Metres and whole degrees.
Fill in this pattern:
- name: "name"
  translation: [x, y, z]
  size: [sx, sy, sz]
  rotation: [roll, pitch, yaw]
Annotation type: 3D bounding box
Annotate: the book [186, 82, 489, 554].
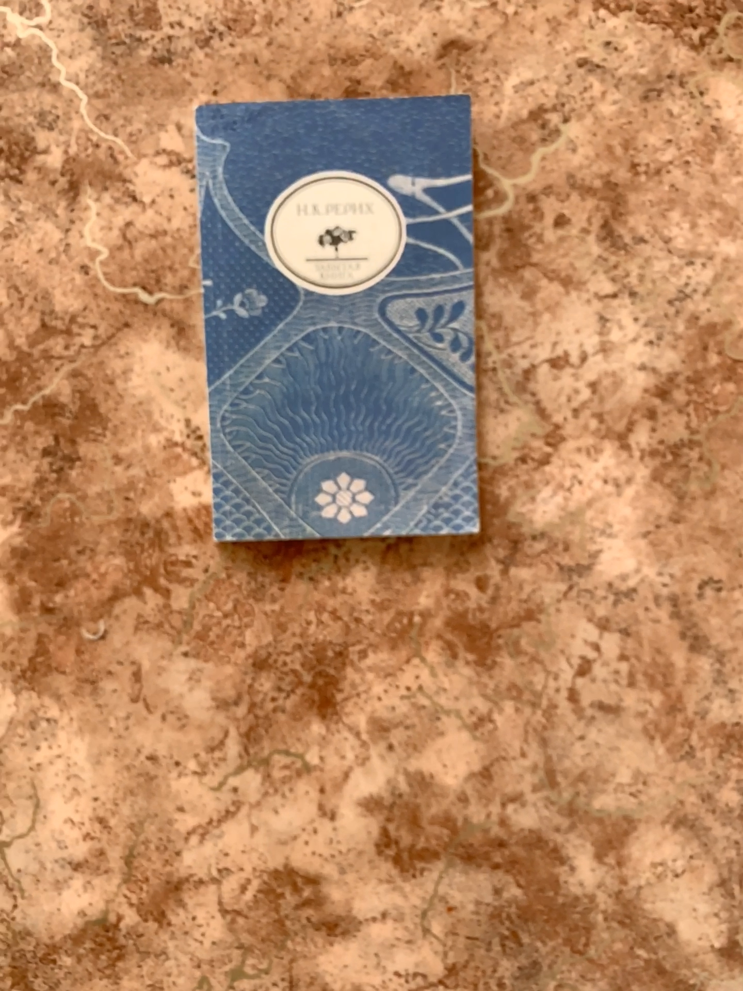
- name: "book"
  translation: [-0.014, -0.078, 0.352]
  size: [0.125, 0.015, 0.202]
  rotation: [-3, 93, -2]
